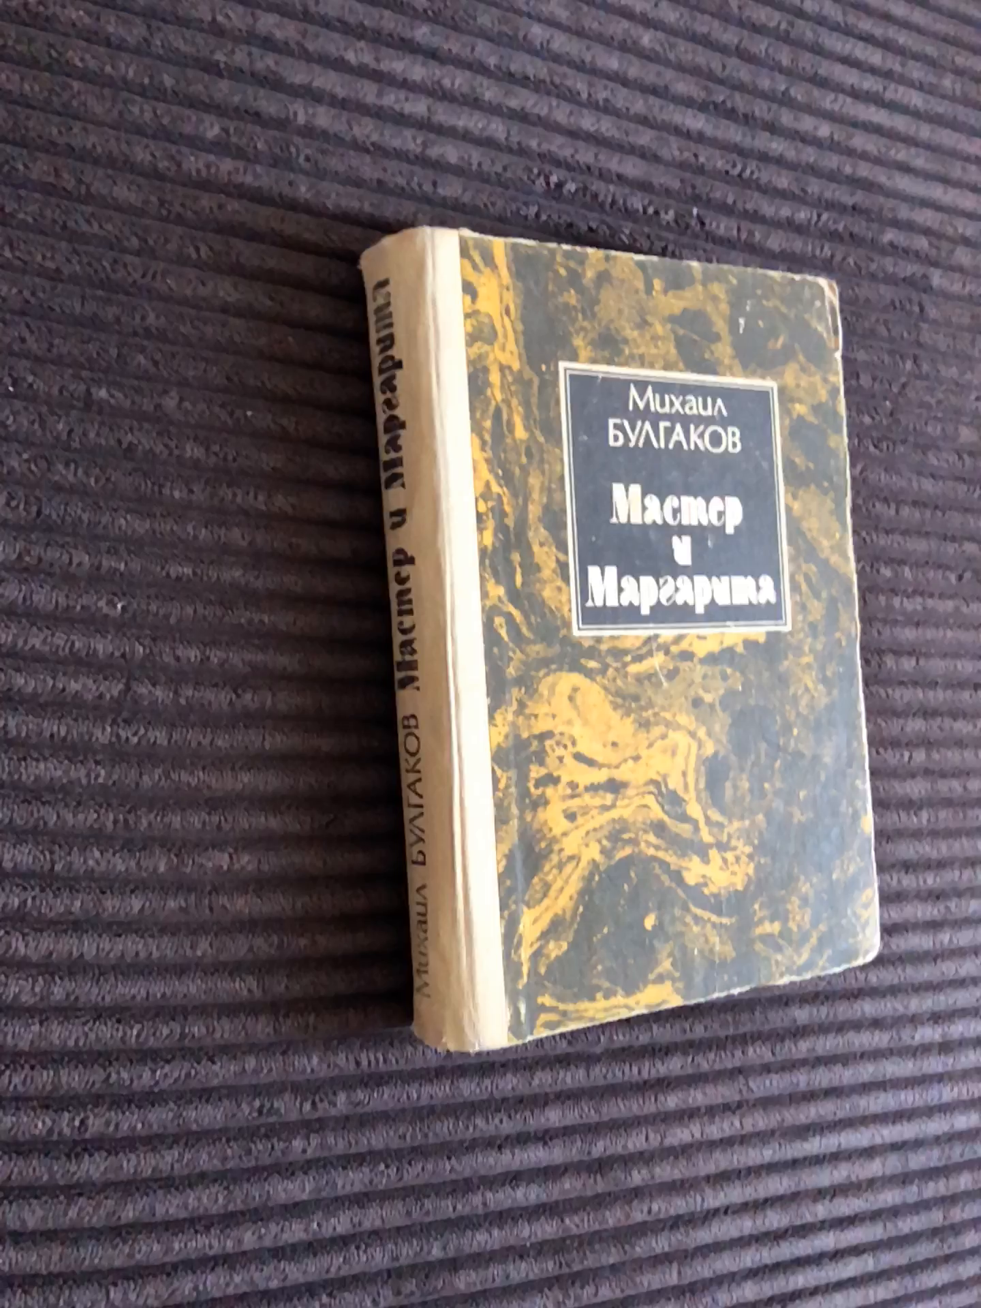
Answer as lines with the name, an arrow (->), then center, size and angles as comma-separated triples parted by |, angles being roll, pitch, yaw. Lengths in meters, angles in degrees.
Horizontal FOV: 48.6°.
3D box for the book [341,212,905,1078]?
book -> 0.043, -0.007, 0.324 | 0.155, 0.035, 0.220 | -4, 87, -26
